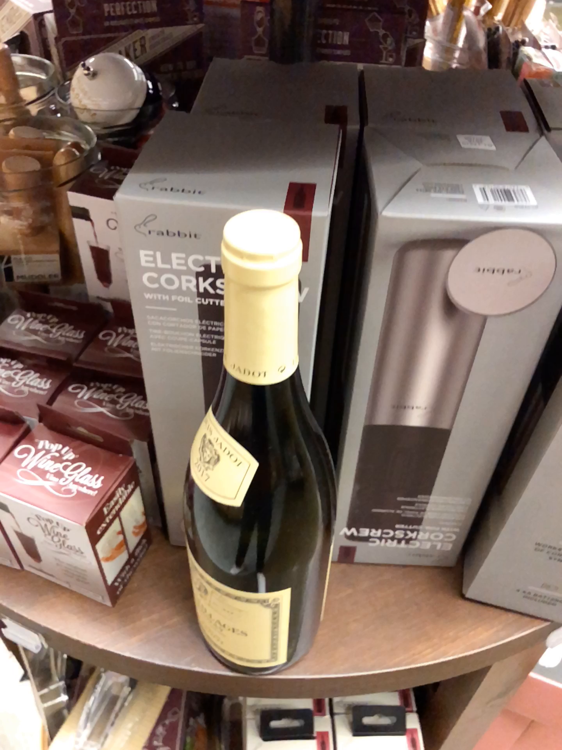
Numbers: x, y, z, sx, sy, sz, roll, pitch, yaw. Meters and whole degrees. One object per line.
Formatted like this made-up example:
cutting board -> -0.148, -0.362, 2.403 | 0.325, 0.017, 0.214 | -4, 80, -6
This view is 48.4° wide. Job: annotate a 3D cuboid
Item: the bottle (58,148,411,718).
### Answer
bottle -> -0.020, 0.056, 0.321 | 0.090, 0.299, 0.090 | 0, 43, 0
